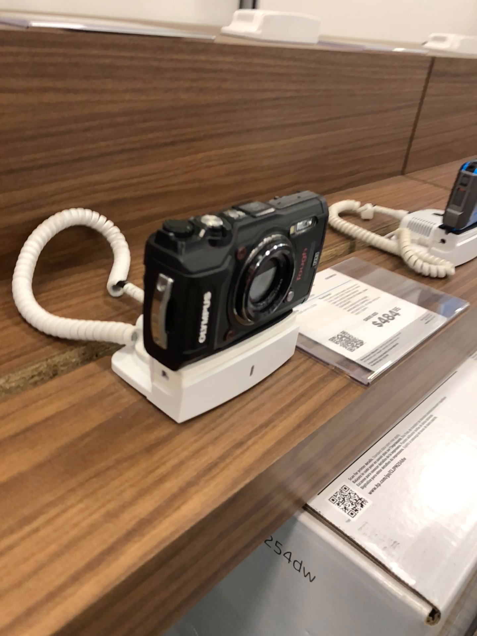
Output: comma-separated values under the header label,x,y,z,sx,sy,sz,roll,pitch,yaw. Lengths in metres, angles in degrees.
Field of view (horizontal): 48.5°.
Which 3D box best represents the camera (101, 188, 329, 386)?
label,x,y,z,sx,sy,sz,roll,pitch,yaw
camera,-0.006,-0.022,0.257,0.030,0.060,0.120,27,35,34
